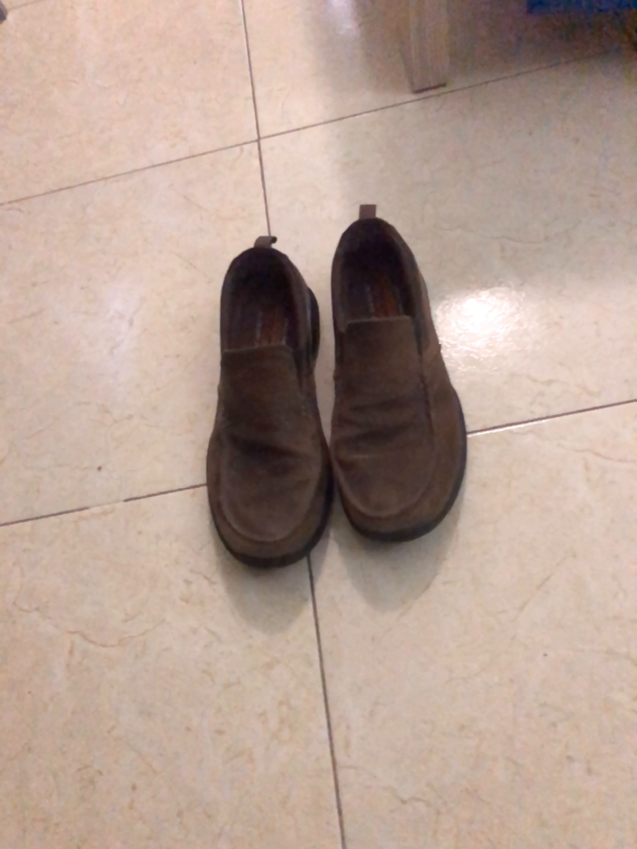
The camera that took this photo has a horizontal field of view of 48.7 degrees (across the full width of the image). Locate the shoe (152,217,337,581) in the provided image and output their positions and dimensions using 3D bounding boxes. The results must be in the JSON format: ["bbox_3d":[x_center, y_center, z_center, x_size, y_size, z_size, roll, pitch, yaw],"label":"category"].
[{"bbox_3d":[-0.055,-0.027,0.621,0.120,0.100,0.301,-6,61,10],"label":"shoe"}]

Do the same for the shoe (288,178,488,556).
[{"bbox_3d":[0.053,-0.055,0.602,0.130,0.100,0.301,-8,60,9],"label":"shoe"}]
